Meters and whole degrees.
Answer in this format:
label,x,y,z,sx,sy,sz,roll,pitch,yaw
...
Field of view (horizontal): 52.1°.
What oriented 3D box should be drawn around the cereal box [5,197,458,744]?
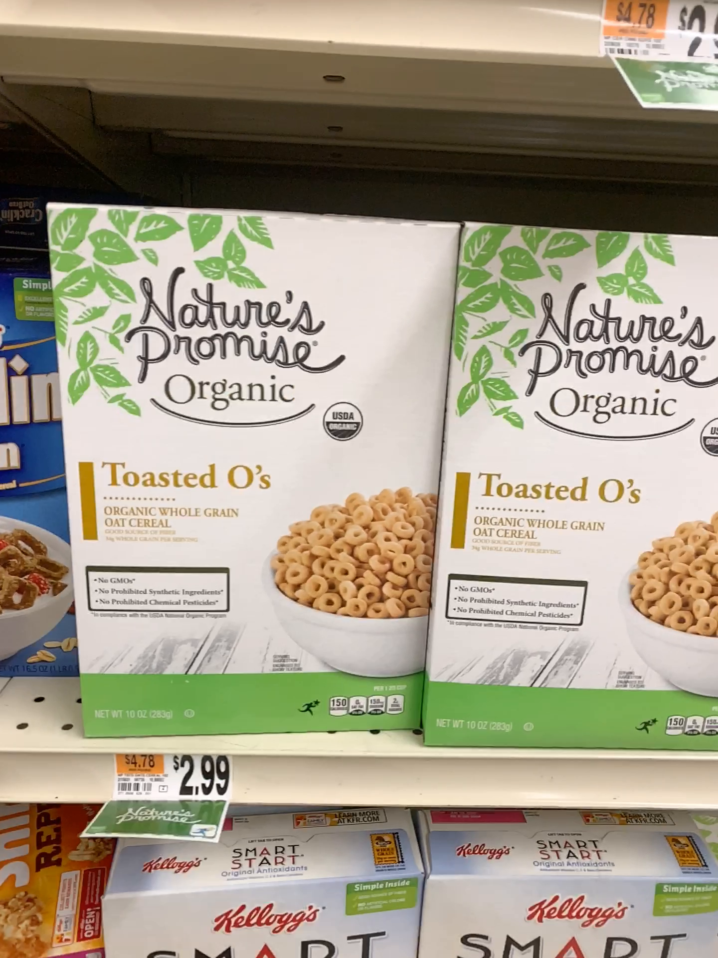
label,x,y,z,sx,sy,sz,roll,pitch,yaw
cereal box,-0.060,0.001,0.387,0.190,0.269,0.070,1,18,-6
